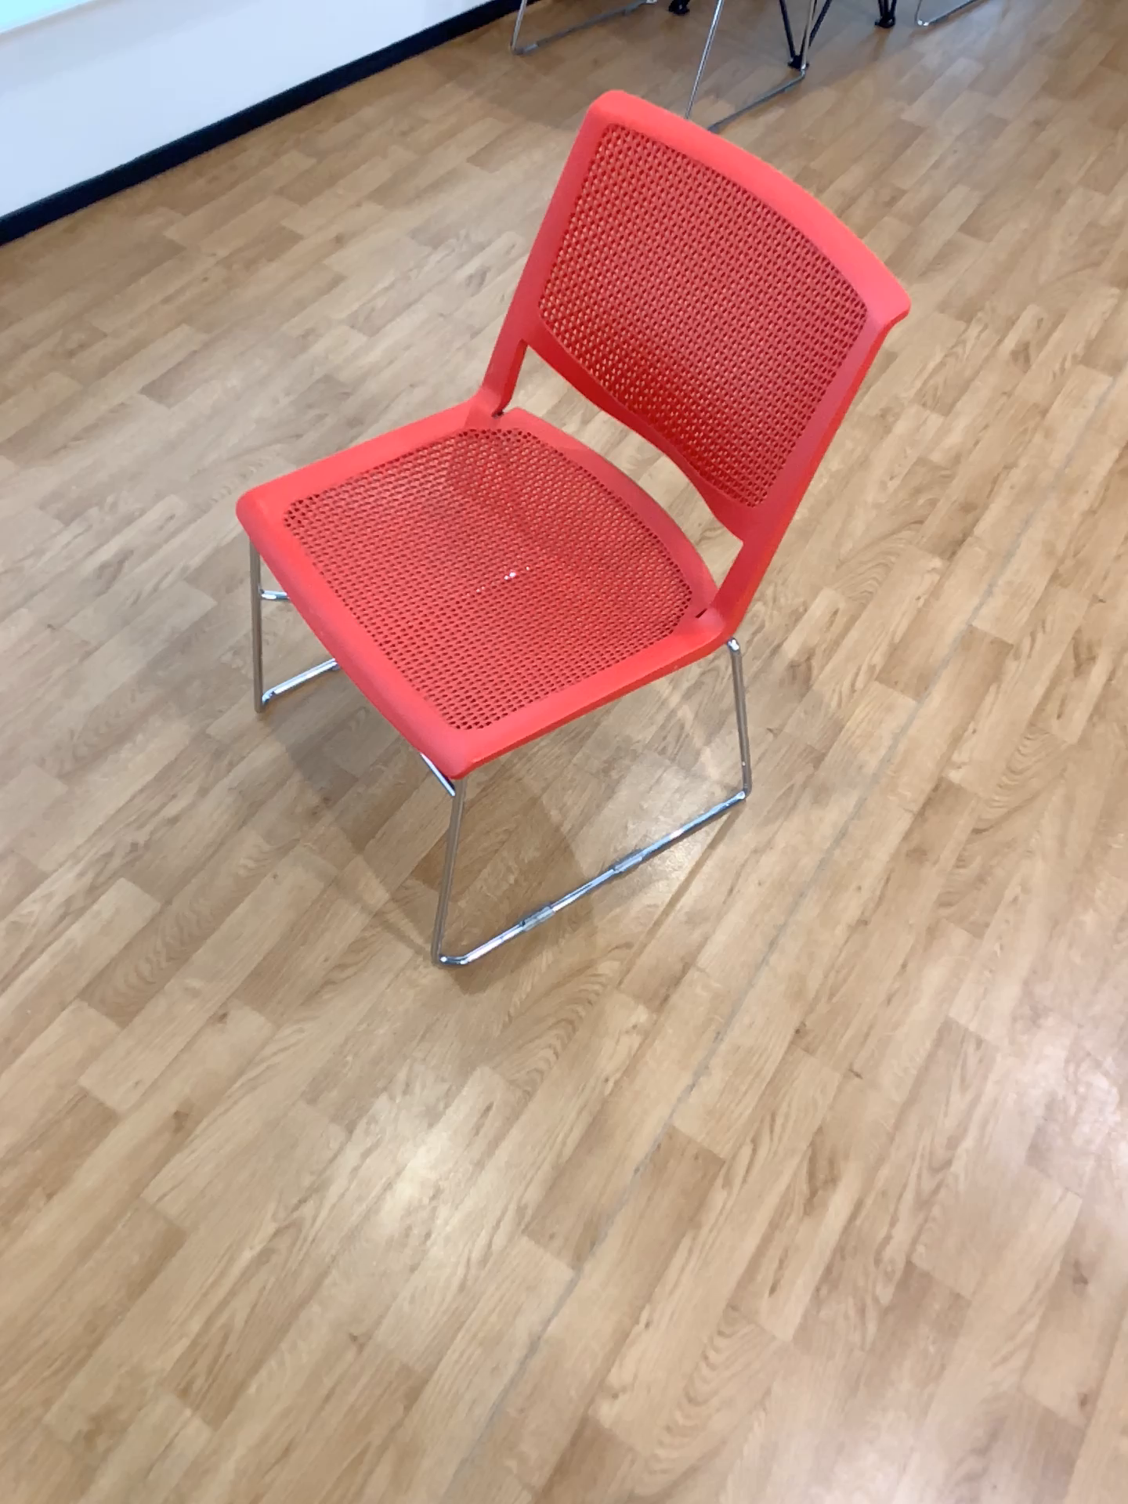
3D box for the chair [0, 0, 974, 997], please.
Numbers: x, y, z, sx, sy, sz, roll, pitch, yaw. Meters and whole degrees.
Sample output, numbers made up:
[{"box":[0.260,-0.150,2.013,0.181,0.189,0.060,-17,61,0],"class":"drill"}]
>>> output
[{"box":[-0.101,-0.265,1.243,0.592,0.705,0.602,-31,63,-24],"class":"chair"}]
